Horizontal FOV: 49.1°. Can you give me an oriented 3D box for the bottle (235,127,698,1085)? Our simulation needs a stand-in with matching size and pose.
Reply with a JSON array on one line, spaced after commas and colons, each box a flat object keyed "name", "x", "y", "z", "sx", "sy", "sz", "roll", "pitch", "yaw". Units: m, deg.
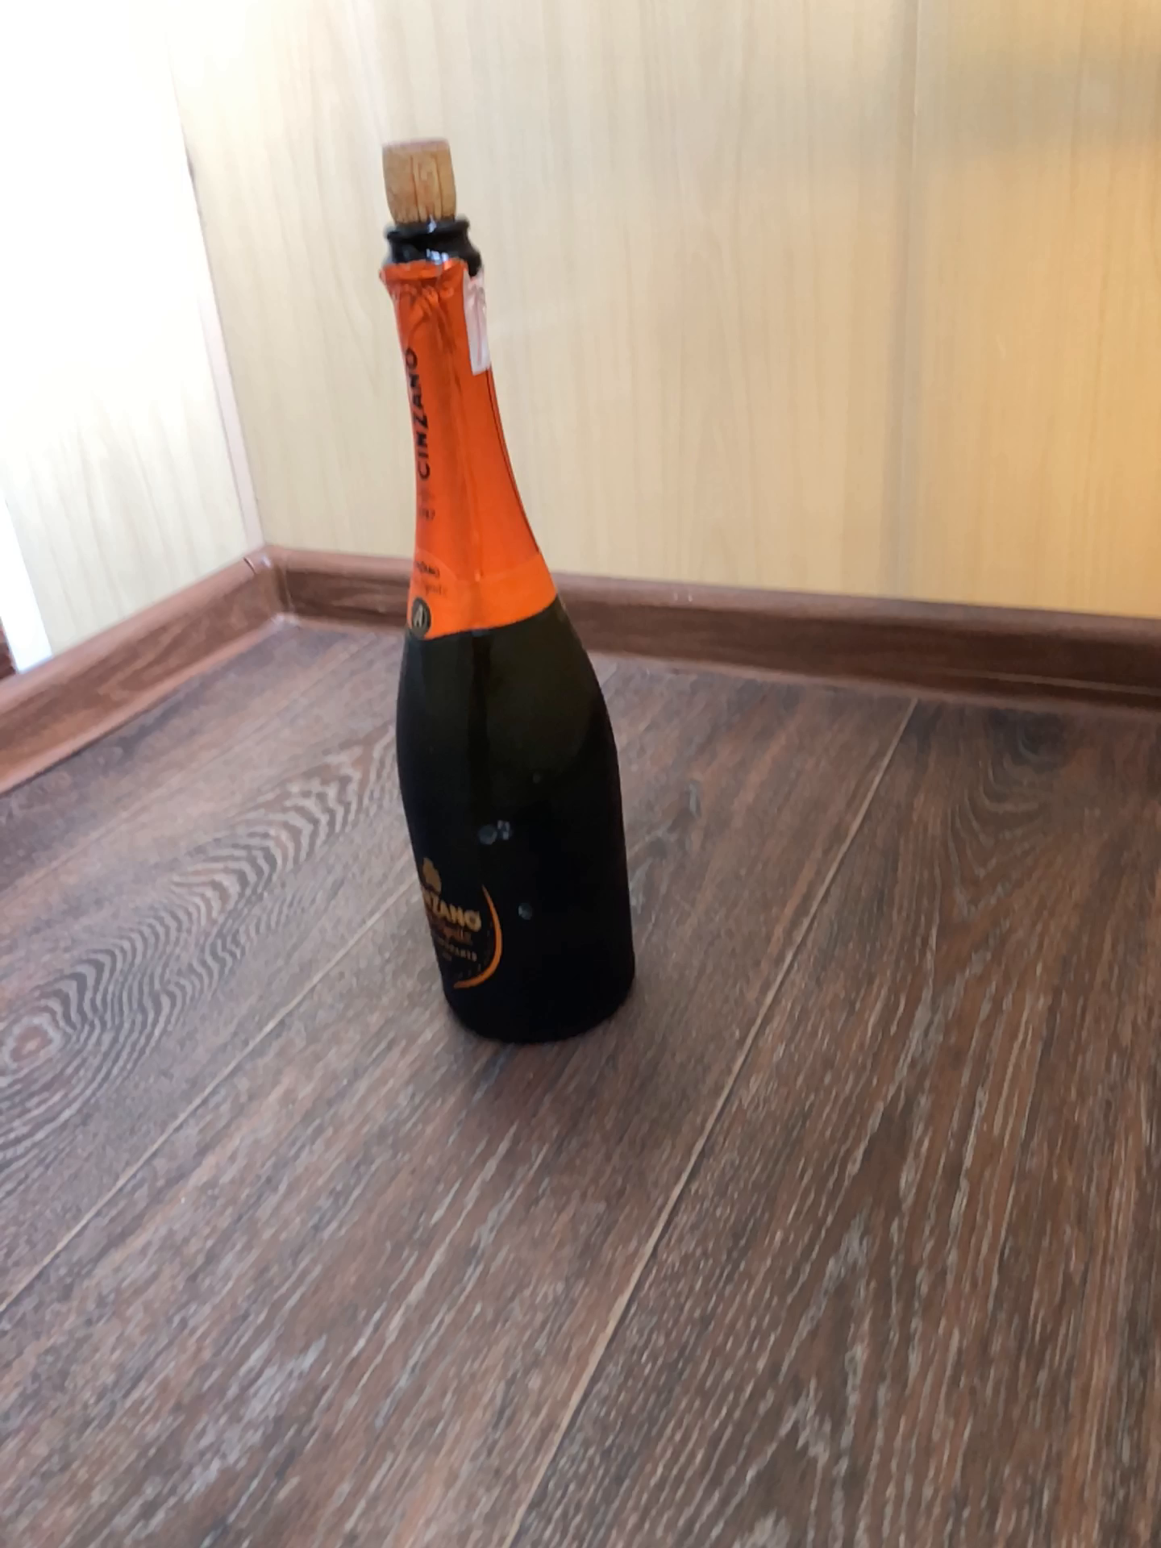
[{"name": "bottle", "x": -0.030, "y": -0.056, "z": 0.482, "sx": 0.100, "sy": 0.328, "sz": 0.093, "roll": -4, "pitch": 27, "yaw": 2}]
